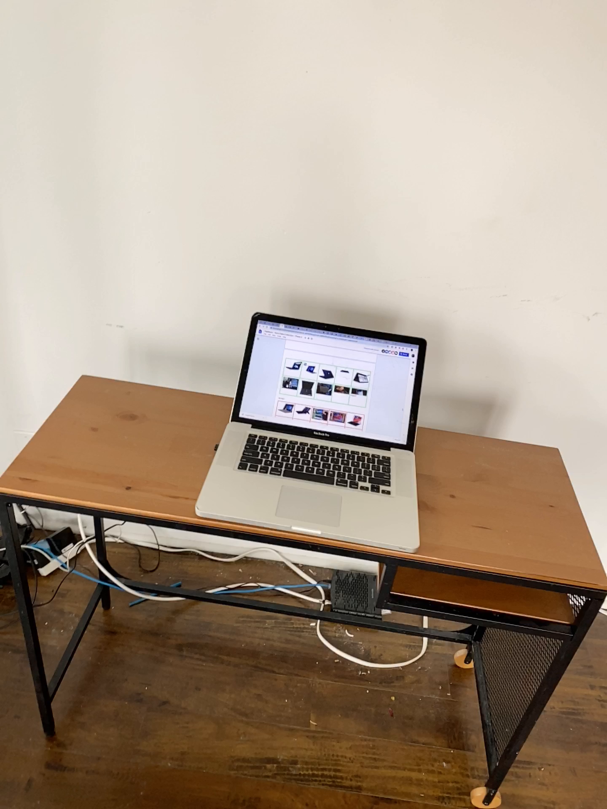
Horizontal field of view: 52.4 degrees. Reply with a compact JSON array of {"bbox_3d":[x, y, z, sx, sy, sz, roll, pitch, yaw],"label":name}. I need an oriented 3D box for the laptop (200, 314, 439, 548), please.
[{"bbox_3d":[0.042,0.021,1.142,0.359,0.155,0.438,9,33,2],"label":"laptop"}]
